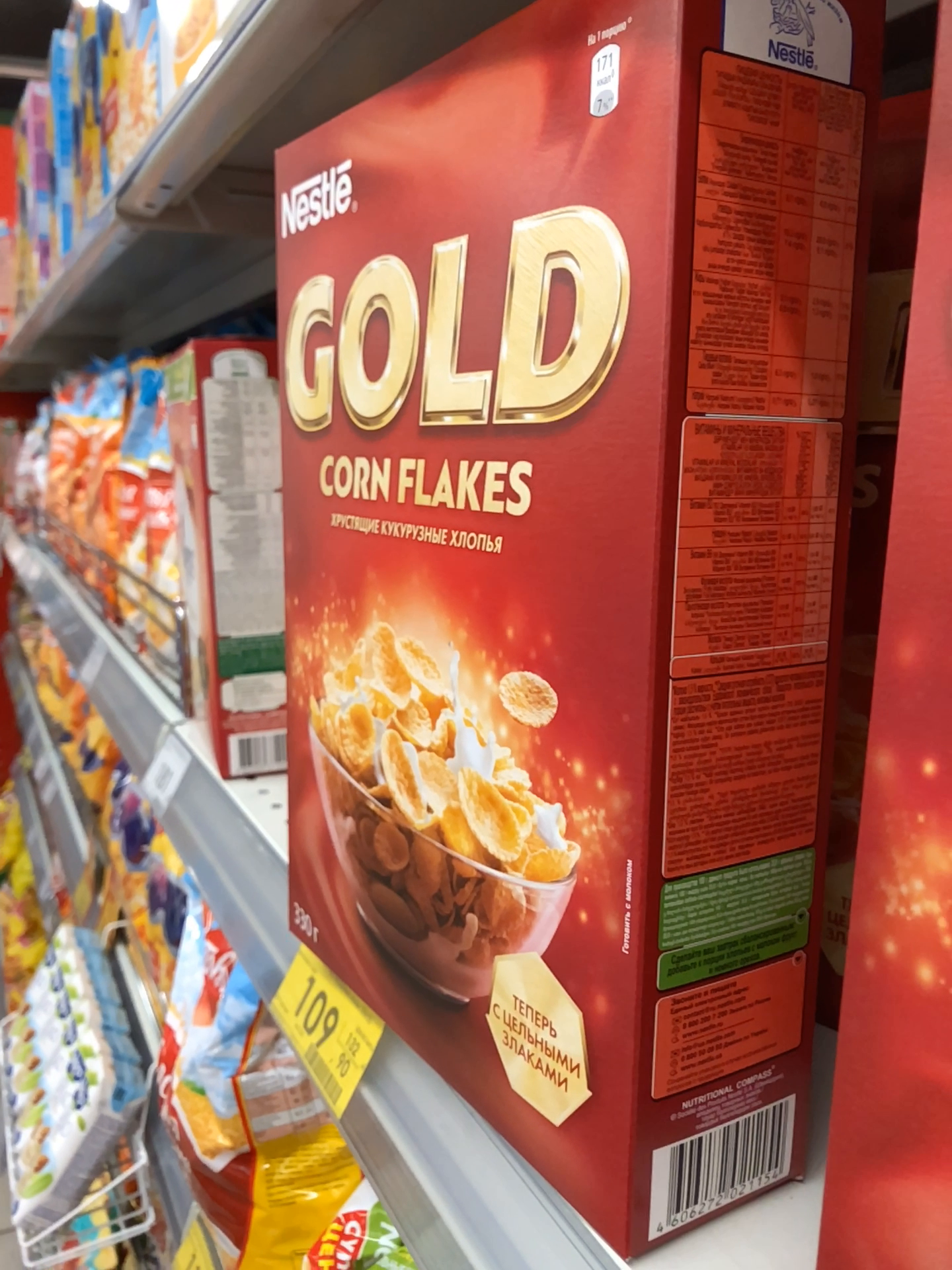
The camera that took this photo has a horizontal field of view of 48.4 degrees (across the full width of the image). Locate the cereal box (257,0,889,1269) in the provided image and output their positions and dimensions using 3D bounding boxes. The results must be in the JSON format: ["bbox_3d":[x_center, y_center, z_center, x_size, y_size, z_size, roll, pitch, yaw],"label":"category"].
[{"bbox_3d":[0.005,-0.015,0.305,0.060,0.279,0.200,-5,11,-32],"label":"cereal box"}]
